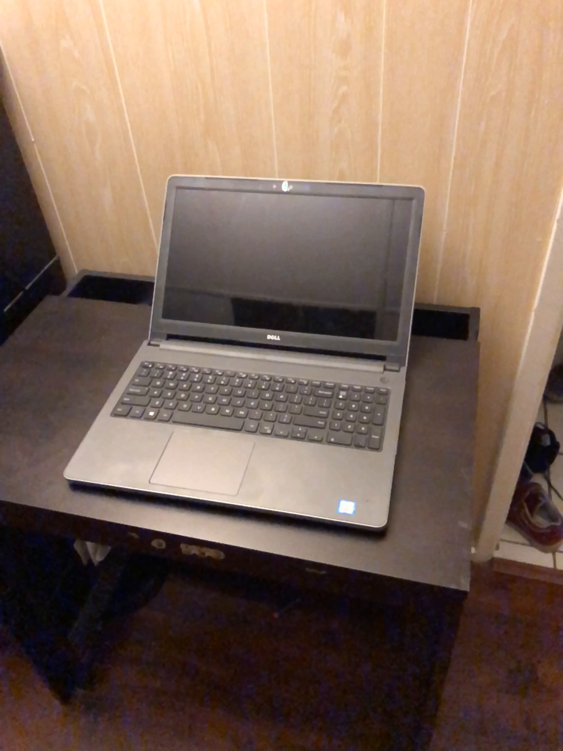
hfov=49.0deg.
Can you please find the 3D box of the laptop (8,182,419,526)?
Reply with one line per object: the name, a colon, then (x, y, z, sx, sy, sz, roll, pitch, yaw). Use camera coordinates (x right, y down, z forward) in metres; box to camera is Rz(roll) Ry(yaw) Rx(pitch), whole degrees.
laptop: (-0.035, -0.066, 0.778, 0.368, 0.172, 0.429, 6, 42, 13)
